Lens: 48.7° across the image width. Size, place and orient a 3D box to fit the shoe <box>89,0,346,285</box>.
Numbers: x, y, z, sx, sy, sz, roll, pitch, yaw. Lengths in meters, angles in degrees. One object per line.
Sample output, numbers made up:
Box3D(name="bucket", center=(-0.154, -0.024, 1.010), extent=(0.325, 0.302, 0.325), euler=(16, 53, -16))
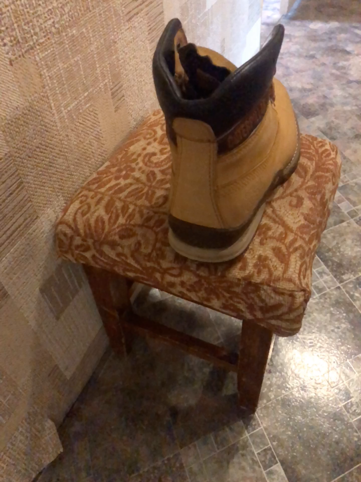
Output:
Box3D(name="shoe", center=(0.059, -0.140, 0.413), extent=(0.130, 0.189, 0.291), euler=(16, 50, 18))
